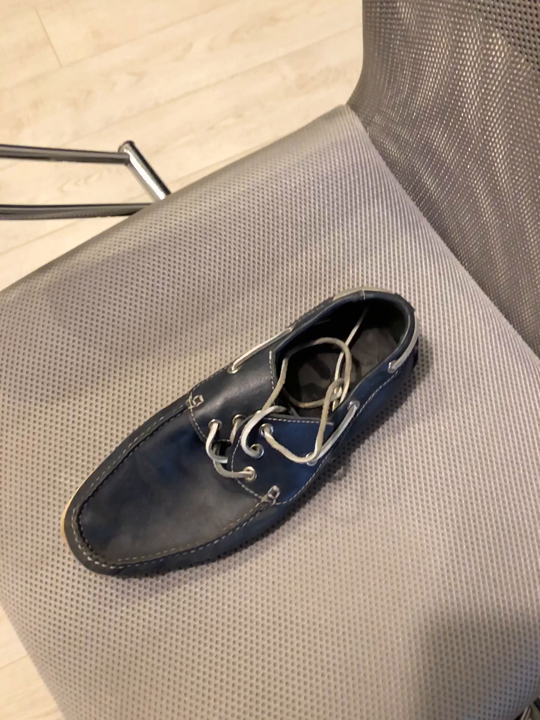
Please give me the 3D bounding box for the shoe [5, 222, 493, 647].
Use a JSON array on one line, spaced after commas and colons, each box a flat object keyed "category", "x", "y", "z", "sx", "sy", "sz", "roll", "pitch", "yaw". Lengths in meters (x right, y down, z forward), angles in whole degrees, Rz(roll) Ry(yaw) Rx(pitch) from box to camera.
[{"category": "shoe", "x": -0.010, "y": 0.047, "z": 0.421, "sx": 0.290, "sy": 0.100, "sz": 0.120, "roll": -35, "pitch": 78, "yaw": -8}]
